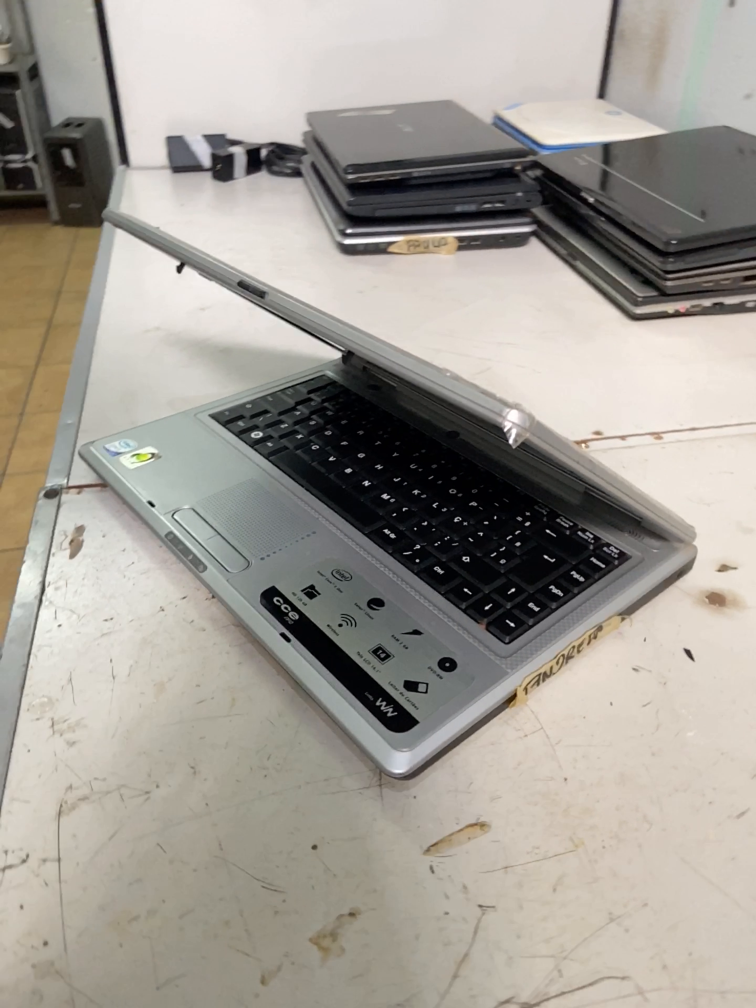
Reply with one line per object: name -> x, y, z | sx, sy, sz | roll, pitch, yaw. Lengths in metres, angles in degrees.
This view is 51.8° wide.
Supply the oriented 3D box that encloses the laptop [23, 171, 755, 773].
laptop -> -0.008, -0.067, 0.461 | 0.243, 0.153, 0.336 | -26, 43, -32
